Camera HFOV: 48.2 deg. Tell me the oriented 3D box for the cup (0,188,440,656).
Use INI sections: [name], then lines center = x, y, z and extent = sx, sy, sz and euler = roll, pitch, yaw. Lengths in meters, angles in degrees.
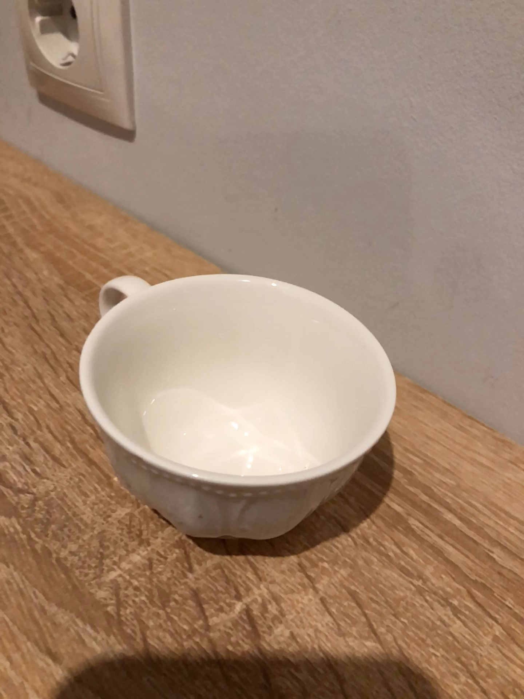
[cup]
center = -0.021, 0.008, 0.146
extent = 0.100, 0.050, 0.060
euler = 29, 44, 27
